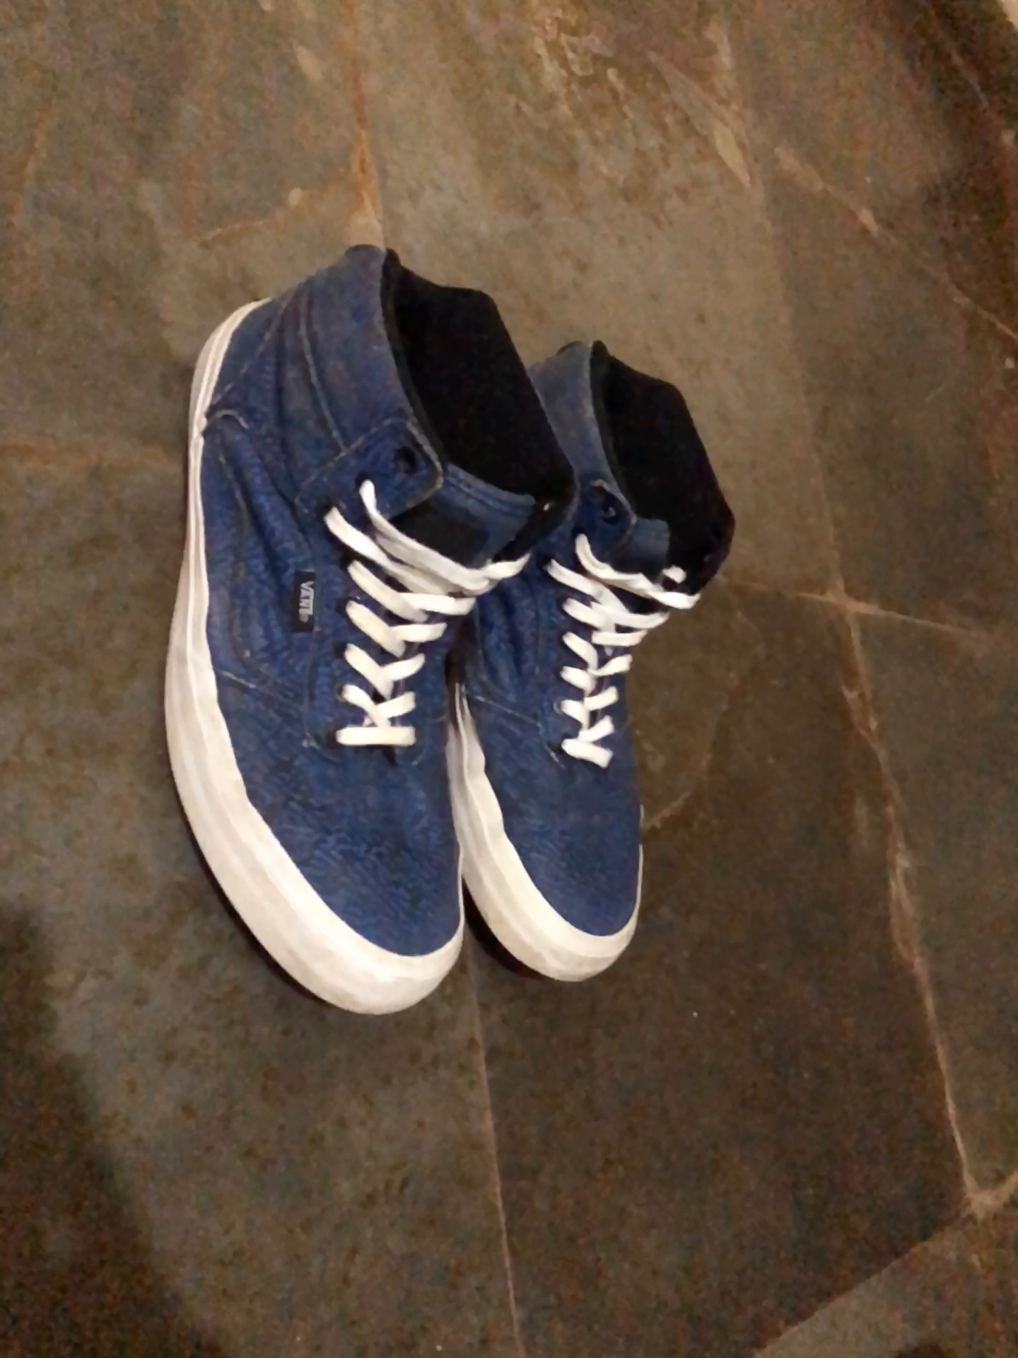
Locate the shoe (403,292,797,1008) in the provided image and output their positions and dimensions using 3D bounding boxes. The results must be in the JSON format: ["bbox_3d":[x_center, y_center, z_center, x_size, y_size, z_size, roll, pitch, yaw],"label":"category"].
[{"bbox_3d":[0.036,-0.007,0.497,0.121,0.089,0.280,11,68,-44],"label":"shoe"}]

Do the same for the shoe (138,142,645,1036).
[{"bbox_3d":[-0.050,-0.024,0.416,0.121,0.109,0.280,7,71,-45],"label":"shoe"}]
